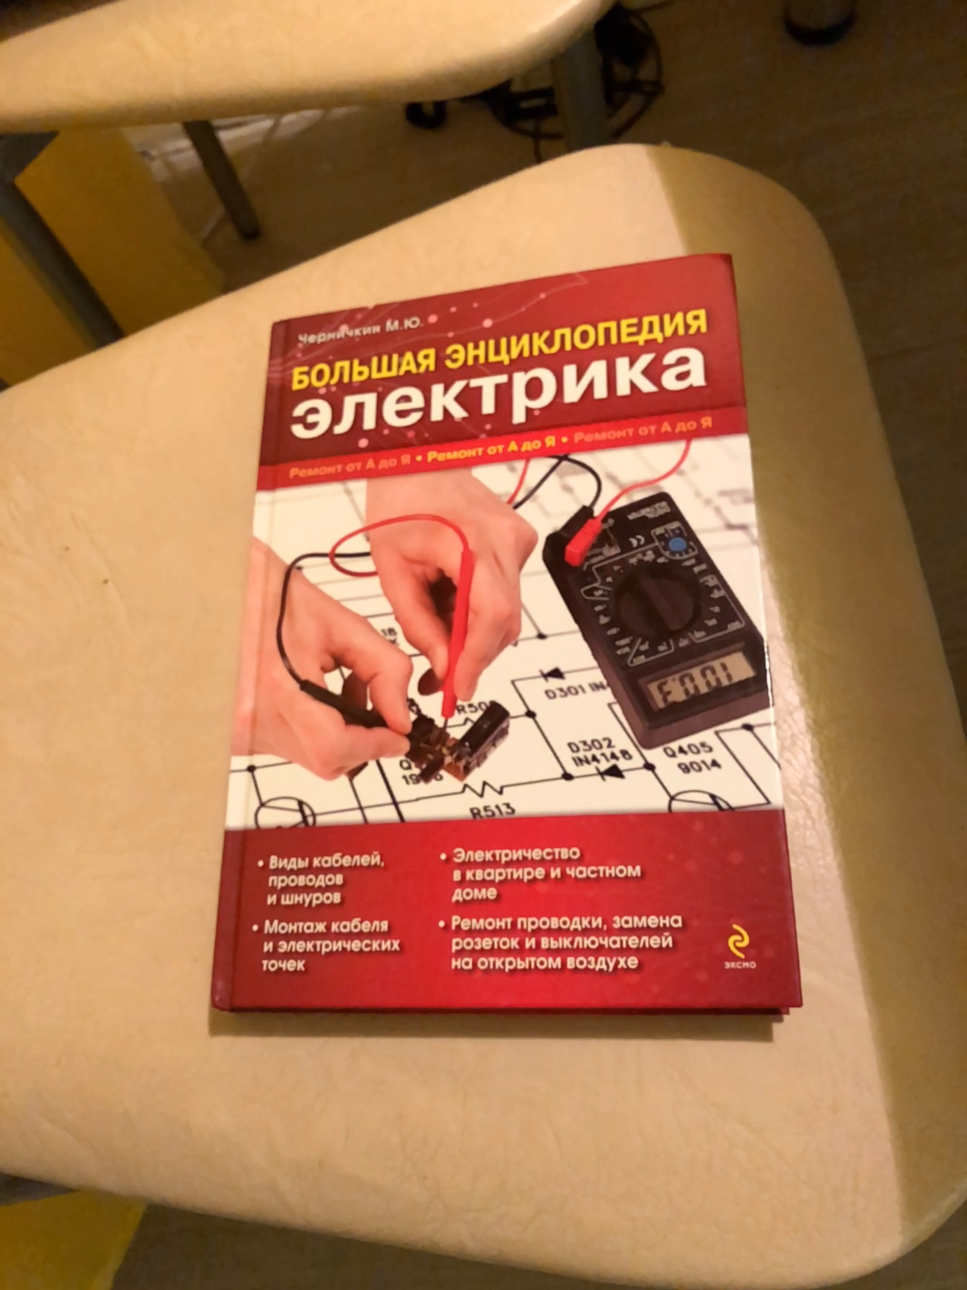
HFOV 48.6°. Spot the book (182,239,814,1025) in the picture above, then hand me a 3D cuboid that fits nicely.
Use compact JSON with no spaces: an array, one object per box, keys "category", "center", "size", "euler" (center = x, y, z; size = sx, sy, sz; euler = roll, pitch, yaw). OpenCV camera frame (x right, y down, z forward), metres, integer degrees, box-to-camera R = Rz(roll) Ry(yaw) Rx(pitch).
[{"category":"book","center":[0.003,-0.009,0.340],"size":[0.172,0.030,0.241],"euler":[-4,68,13]}]
